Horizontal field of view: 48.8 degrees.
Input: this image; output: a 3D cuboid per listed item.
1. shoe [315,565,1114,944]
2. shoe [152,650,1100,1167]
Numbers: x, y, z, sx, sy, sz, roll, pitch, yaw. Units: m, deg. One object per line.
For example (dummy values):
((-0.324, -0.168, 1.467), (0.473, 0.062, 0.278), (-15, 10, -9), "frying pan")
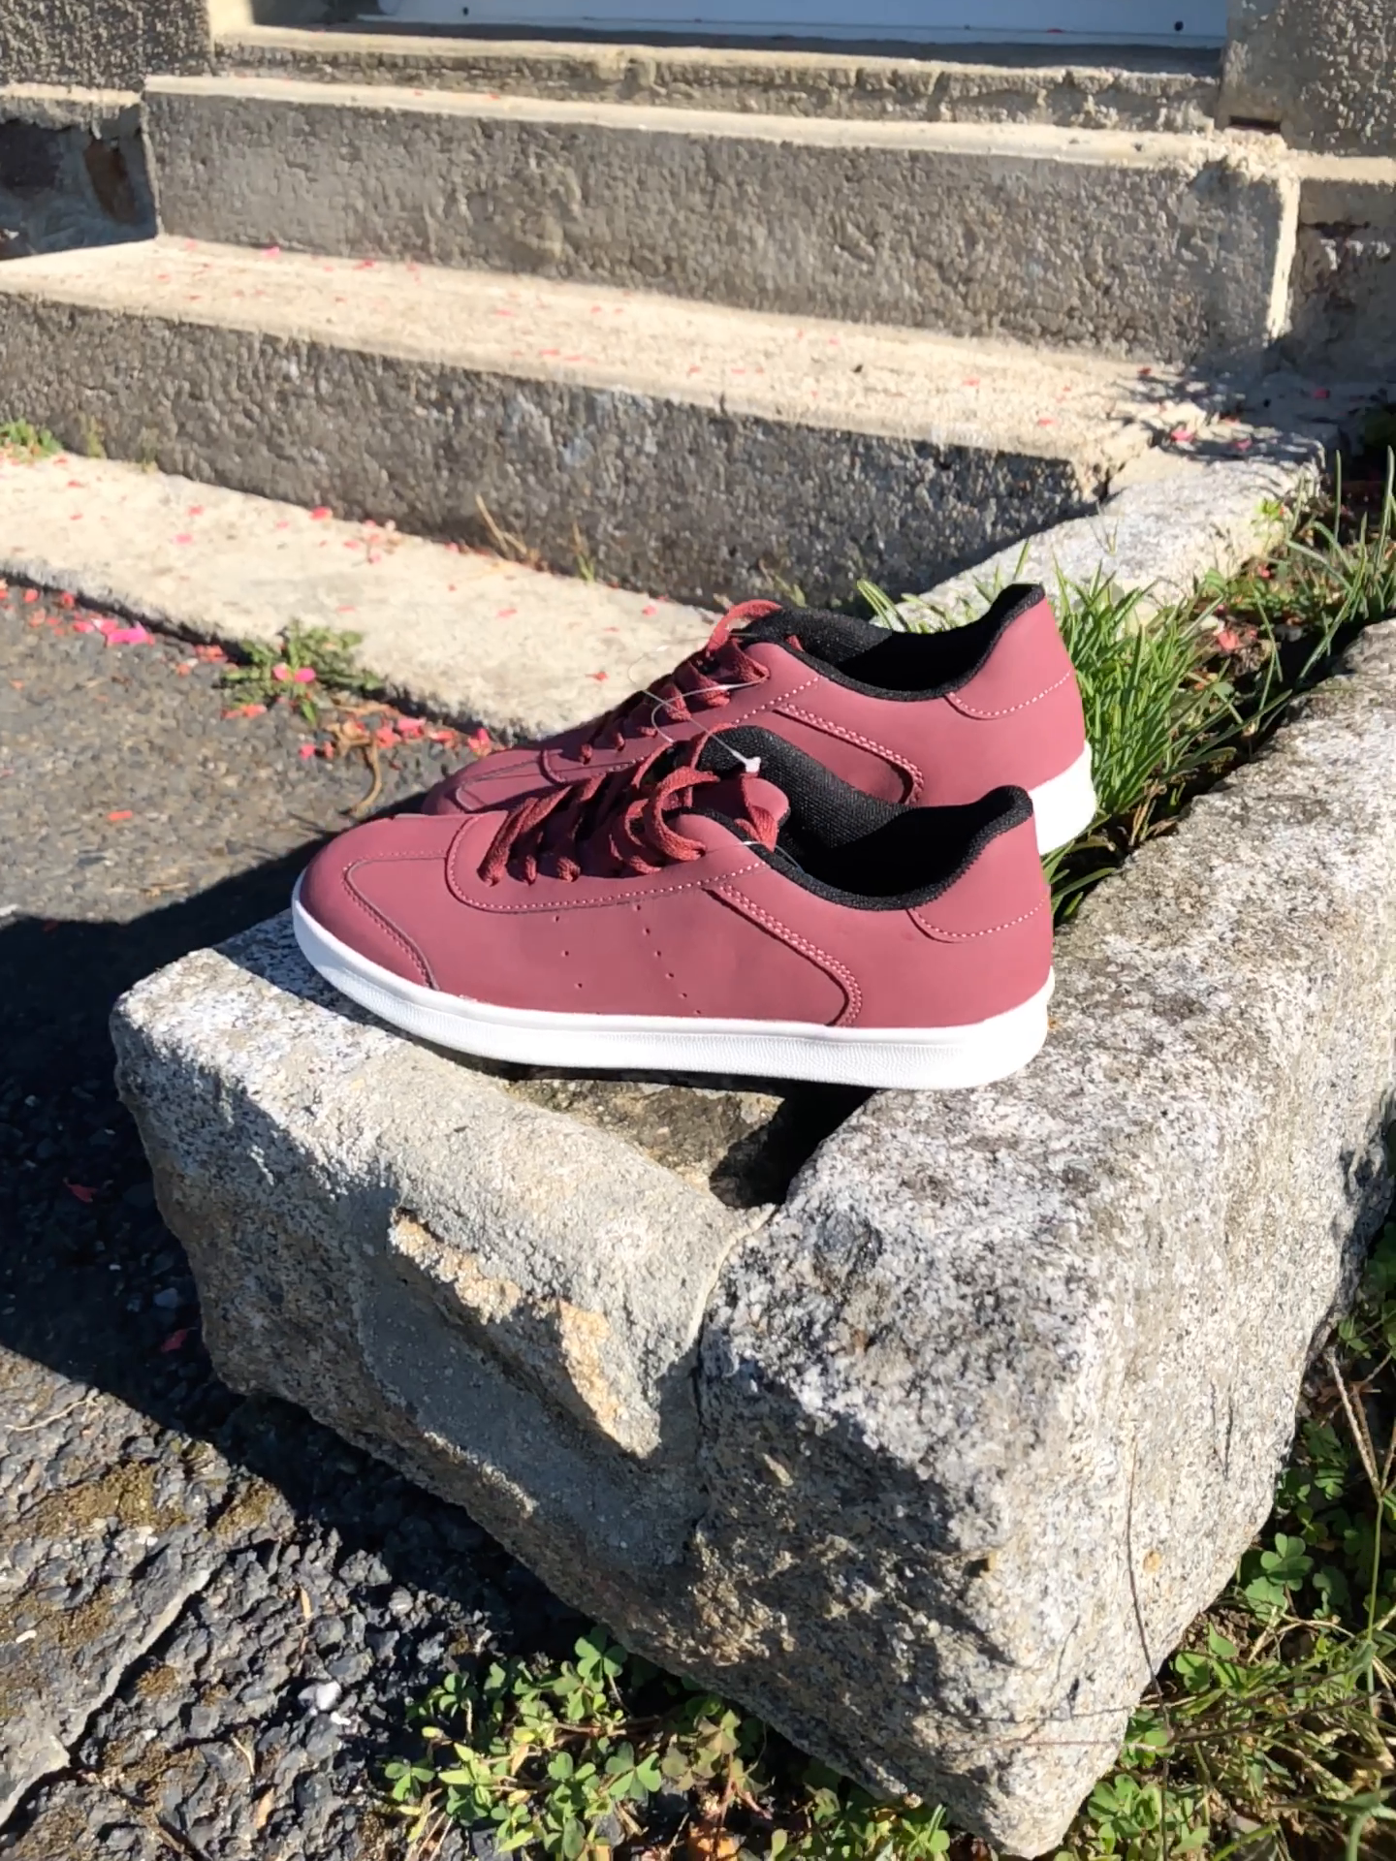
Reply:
((0.012, -0.062, 0.552), (0.260, 0.080, 0.101), (-3, 29, 16), "shoe")
((-0.019, -0.016, 0.473), (0.260, 0.080, 0.101), (10, 32, 15), "shoe")
